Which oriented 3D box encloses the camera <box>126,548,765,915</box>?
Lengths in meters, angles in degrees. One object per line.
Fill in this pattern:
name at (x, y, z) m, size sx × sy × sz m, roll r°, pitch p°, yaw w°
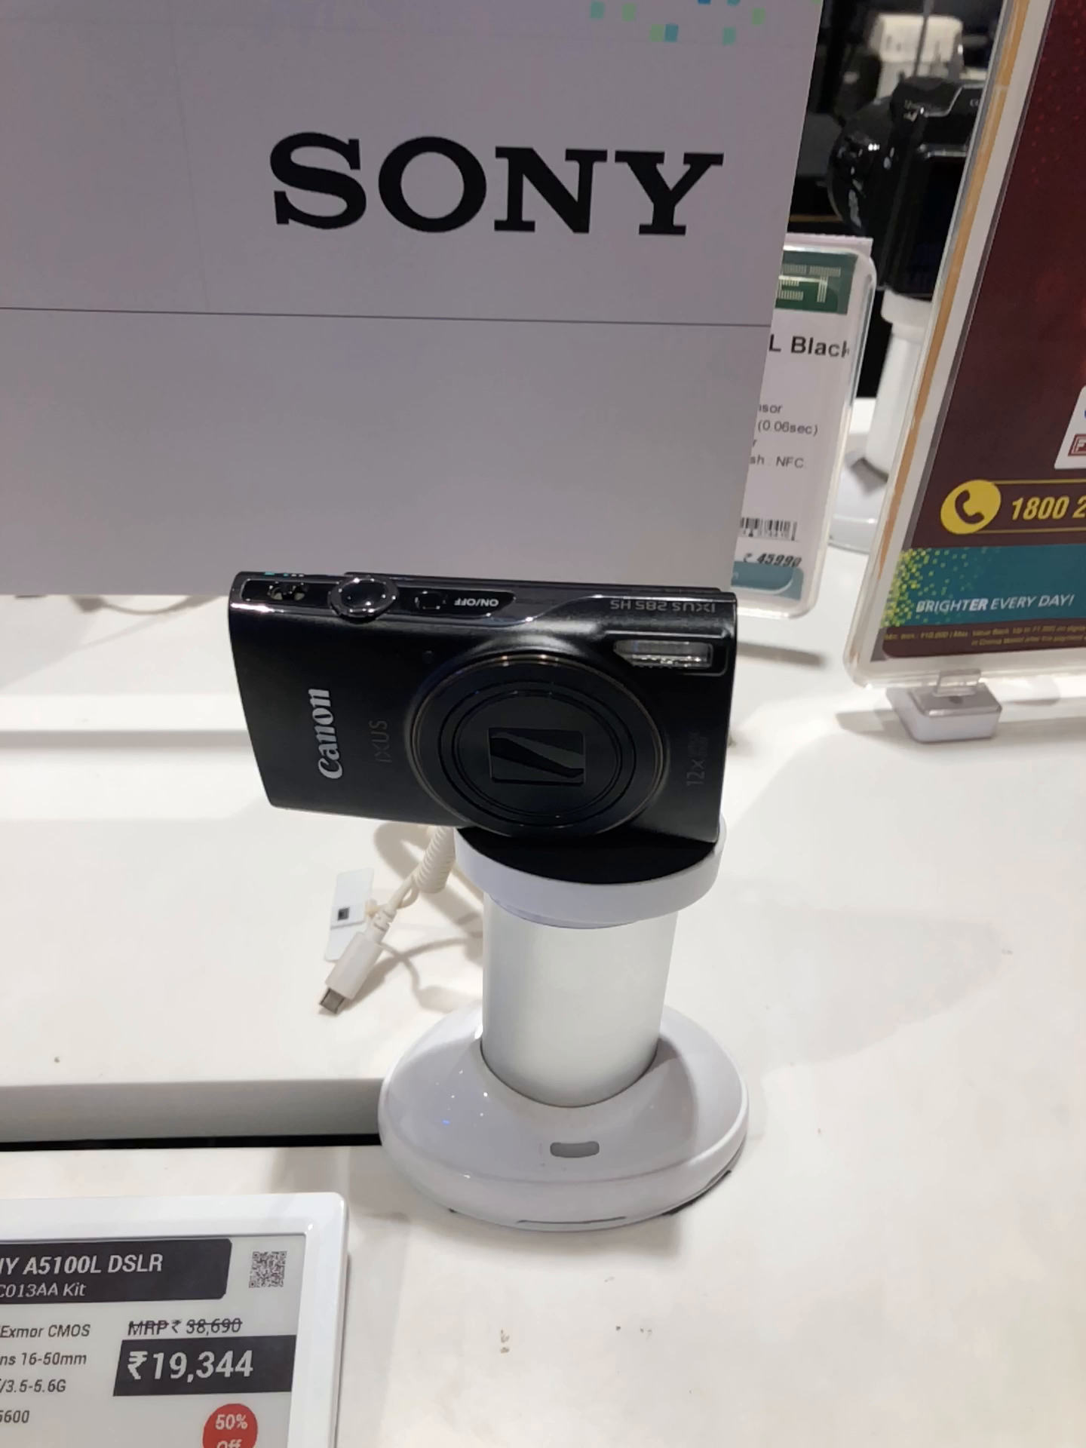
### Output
camera at (-0.017, 0.003, 0.238) m, size 0.110 × 0.060 × 0.030 m, roll 4°, pitch 40°, yaw 1°
